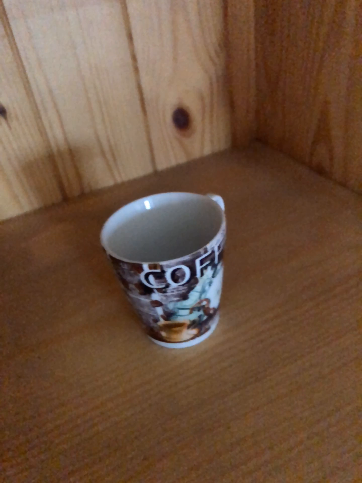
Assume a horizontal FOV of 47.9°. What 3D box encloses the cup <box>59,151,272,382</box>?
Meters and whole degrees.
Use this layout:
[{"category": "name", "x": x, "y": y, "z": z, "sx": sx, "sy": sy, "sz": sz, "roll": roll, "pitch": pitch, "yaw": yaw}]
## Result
[{"category": "cup", "x": -0.002, "y": 0.007, "z": 0.209, "sx": 0.080, "sy": 0.070, "sz": 0.060, "roll": -34, "pitch": 42, "yaw": -31}]
